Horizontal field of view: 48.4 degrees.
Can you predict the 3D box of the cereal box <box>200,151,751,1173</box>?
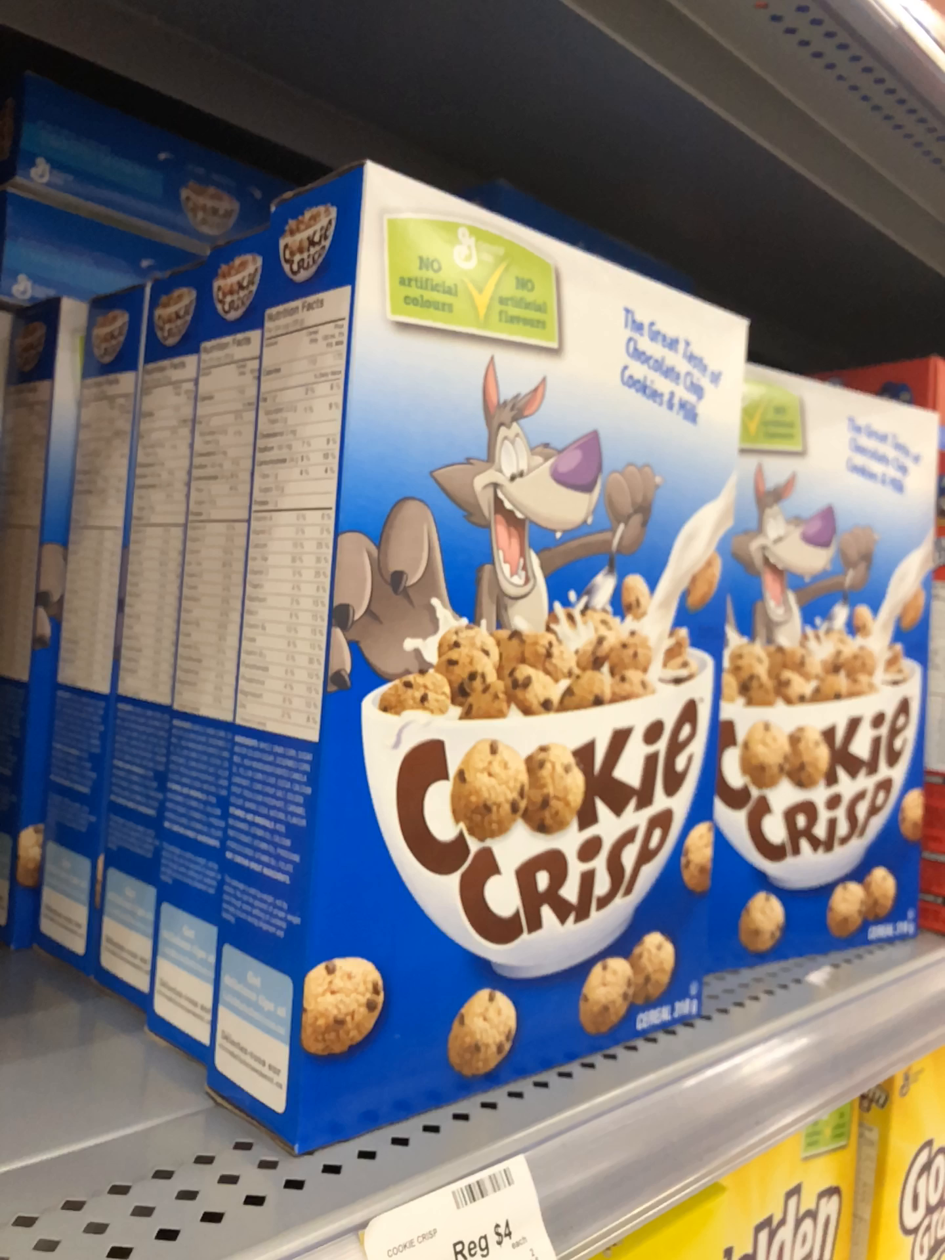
[{"bbox_3d":[0.015,0.011,0.376,0.050,0.280,0.200,5,1,45],"label":"cereal box"}]
